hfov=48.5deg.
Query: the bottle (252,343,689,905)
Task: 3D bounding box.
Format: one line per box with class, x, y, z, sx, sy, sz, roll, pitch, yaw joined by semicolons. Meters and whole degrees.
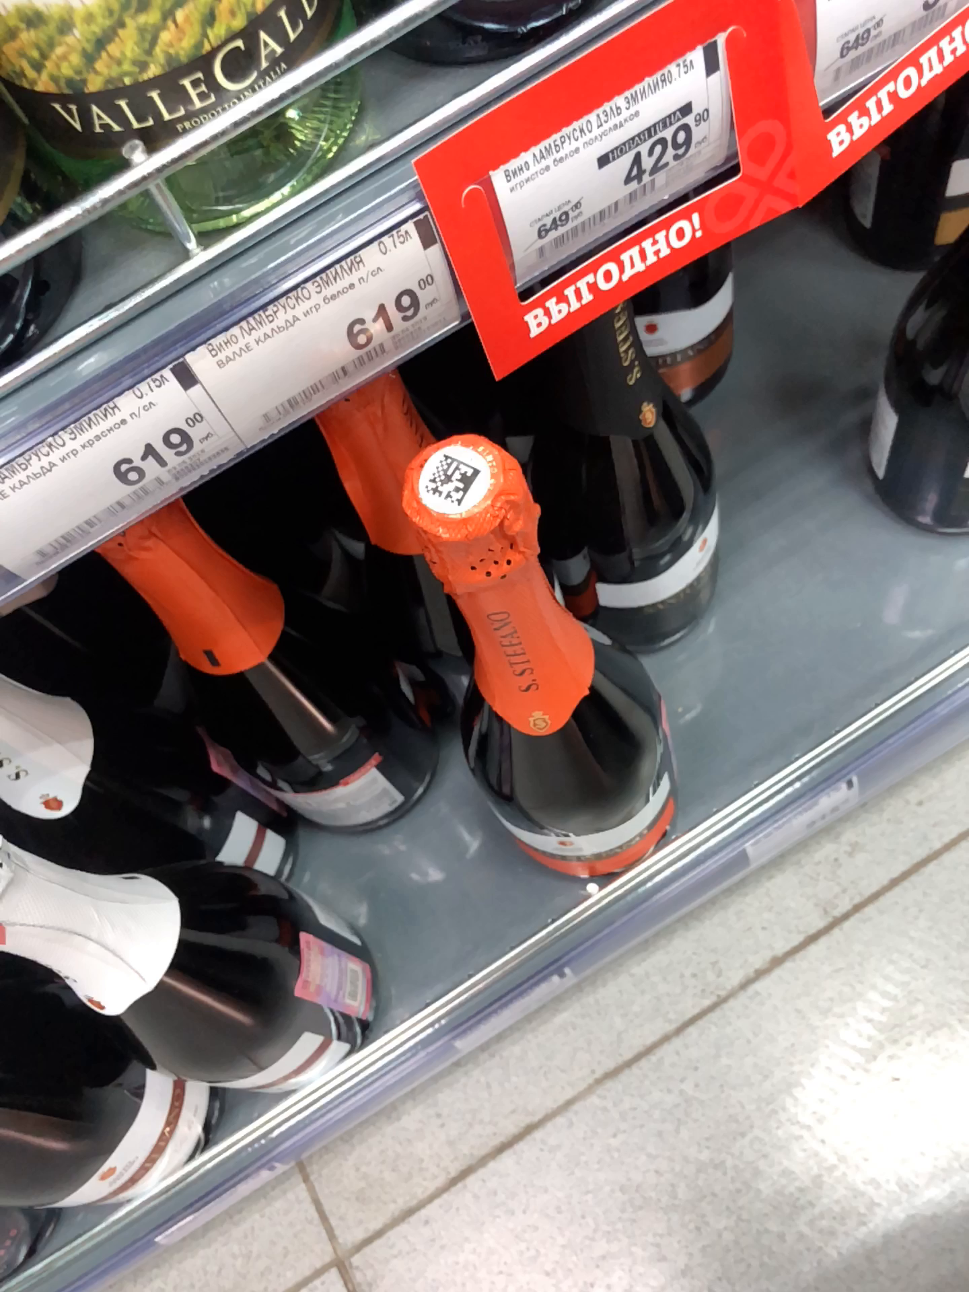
bottle;0.023;0.021;0.426;0.100;0.299;0.100;-5;65;11
